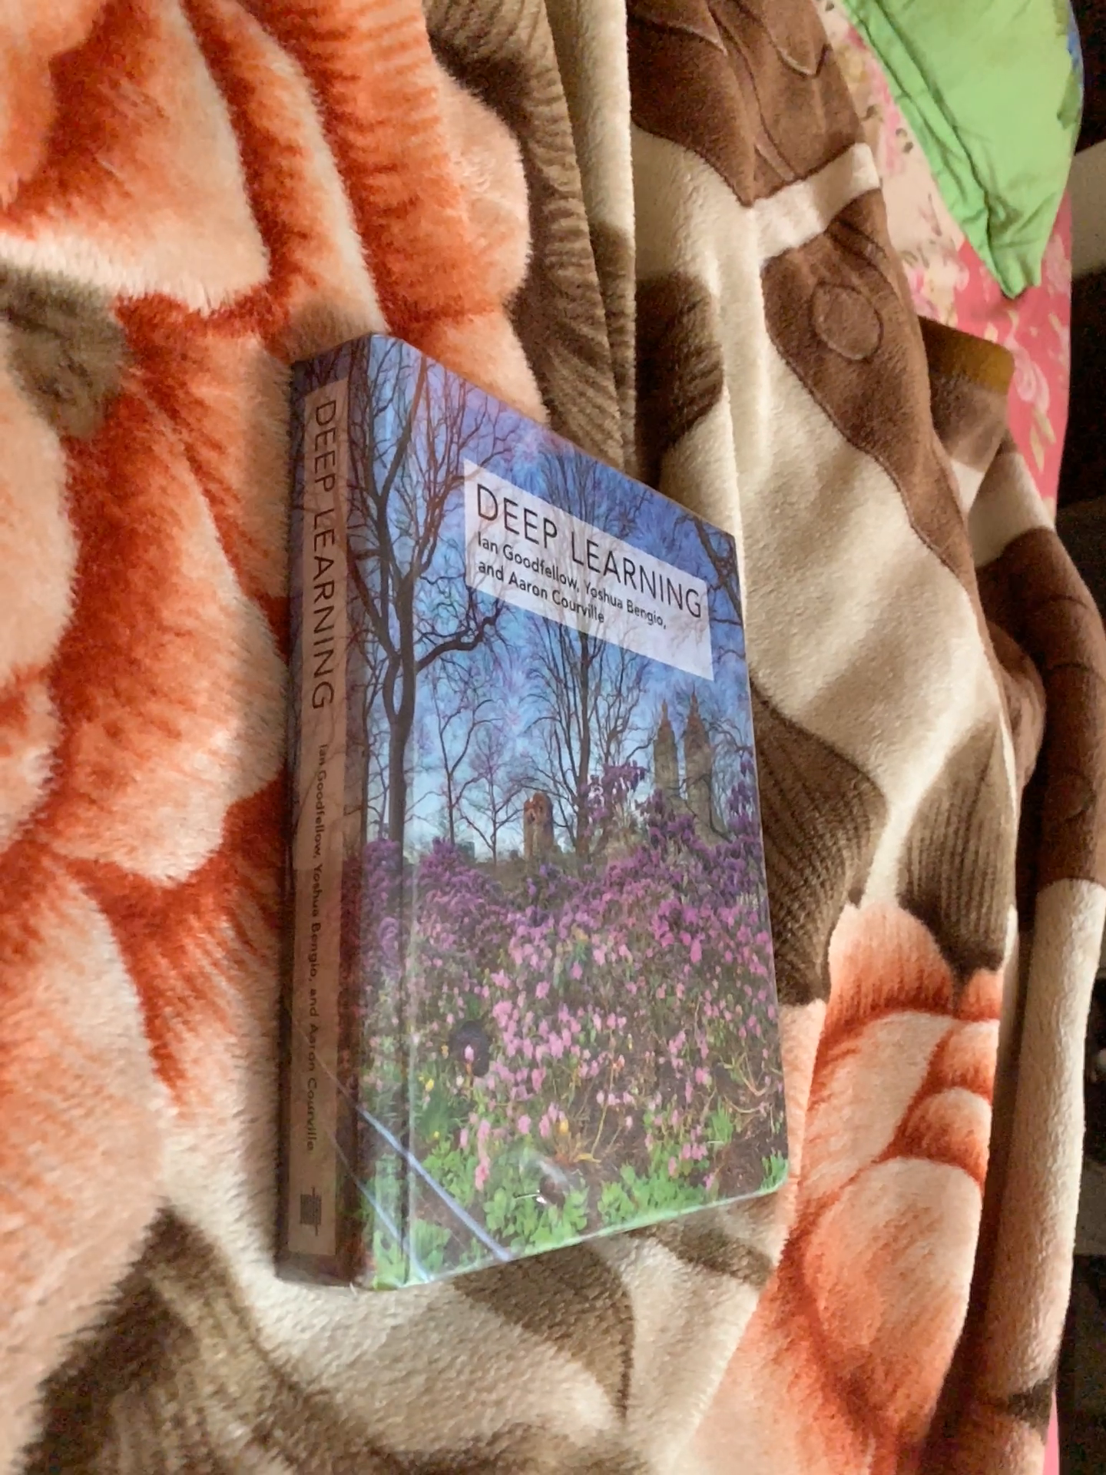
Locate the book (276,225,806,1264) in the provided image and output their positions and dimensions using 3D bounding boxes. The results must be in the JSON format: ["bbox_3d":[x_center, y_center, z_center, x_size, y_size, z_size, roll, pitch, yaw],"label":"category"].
[{"bbox_3d":[0.009,0.008,0.367,0.211,0.030,0.260,17,66,-50],"label":"book"}]
